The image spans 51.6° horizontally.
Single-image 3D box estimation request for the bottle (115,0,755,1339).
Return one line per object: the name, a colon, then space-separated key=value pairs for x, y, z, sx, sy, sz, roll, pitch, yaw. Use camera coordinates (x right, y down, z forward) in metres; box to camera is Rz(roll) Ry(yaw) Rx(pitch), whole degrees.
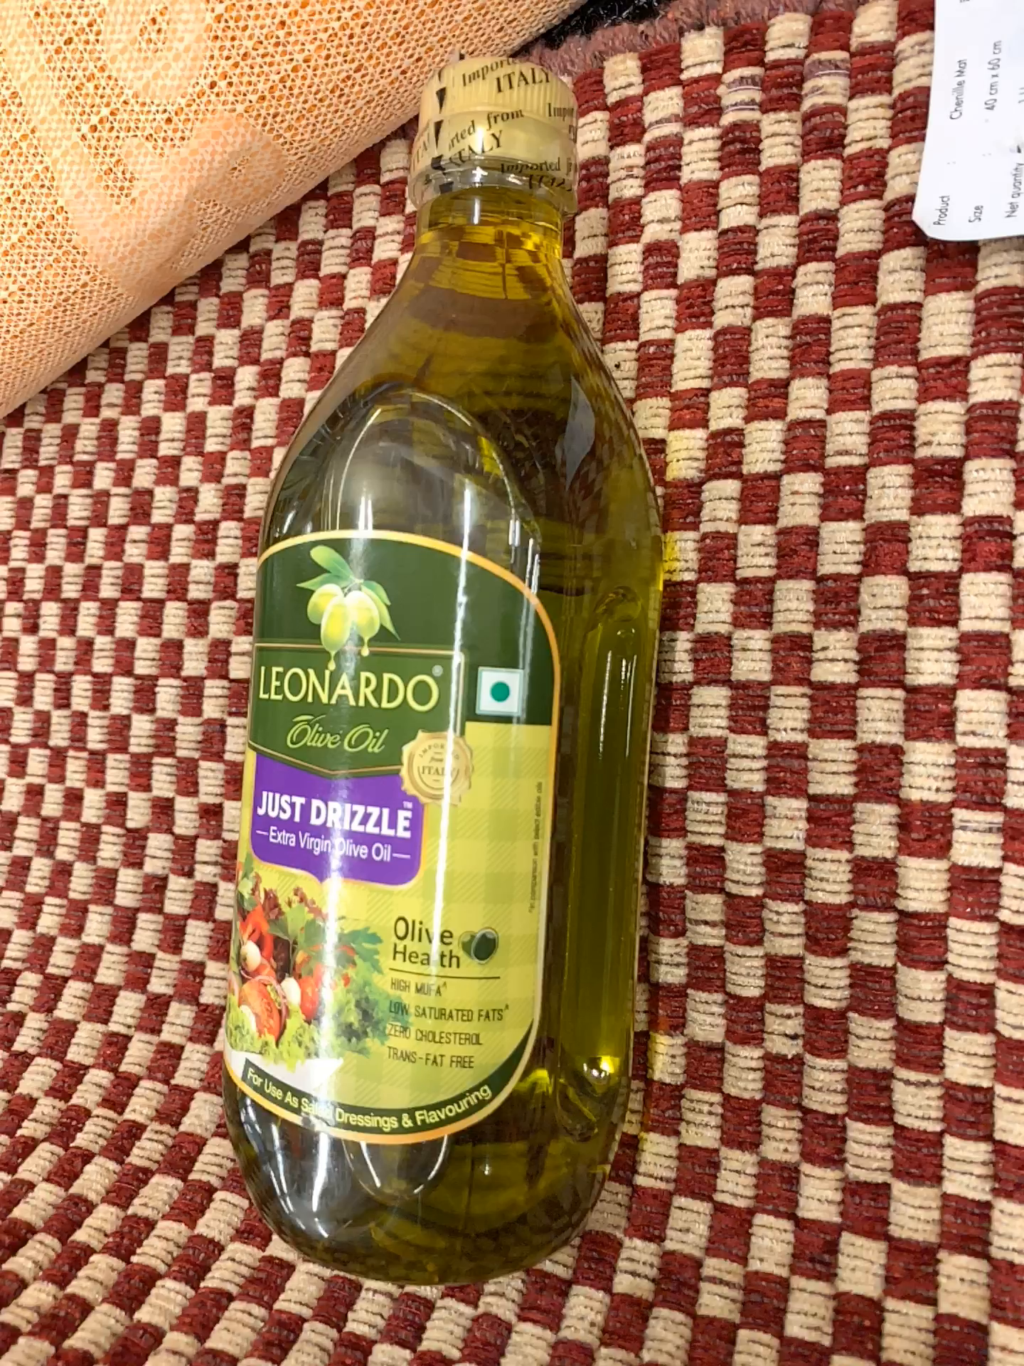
bottle: x=-0.010 y=-0.019 z=0.213 sx=0.080 sy=0.070 sz=0.240 roll=7 pitch=90 yaw=21
